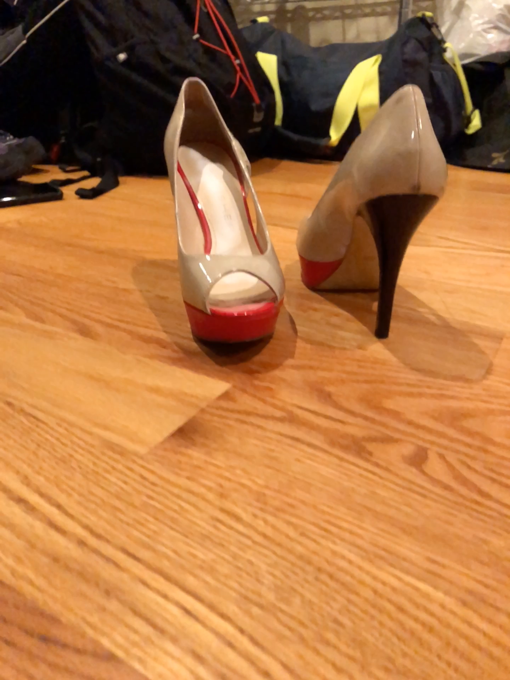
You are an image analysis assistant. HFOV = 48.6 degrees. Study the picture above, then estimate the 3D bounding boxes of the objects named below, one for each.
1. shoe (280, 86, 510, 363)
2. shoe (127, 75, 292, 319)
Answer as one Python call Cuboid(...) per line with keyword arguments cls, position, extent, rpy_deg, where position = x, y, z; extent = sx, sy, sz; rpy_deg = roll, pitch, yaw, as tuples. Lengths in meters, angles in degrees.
Cuboid(cls="shoe", position=(0.086, -0.104, 0.423), extent=(0.080, 0.149, 0.221), rpy_deg=(-6, 26, -11))
Cuboid(cls="shoe", position=(-0.041, -0.121, 0.414), extent=(0.085, 0.129, 0.216), rpy_deg=(-5, 26, -9))
